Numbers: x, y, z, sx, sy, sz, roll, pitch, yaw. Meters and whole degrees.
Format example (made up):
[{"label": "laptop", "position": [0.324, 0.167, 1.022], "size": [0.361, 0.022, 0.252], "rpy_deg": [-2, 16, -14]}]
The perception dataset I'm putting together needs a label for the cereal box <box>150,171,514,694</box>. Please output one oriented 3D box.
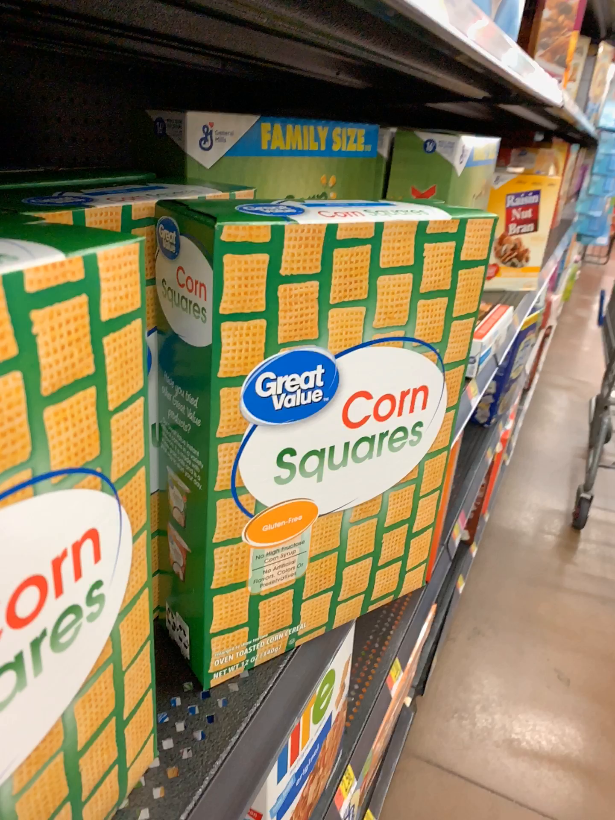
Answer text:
[{"label": "cereal box", "position": [0.009, 0.009, 0.405], "size": [0.200, 0.289, 0.070], "rpy_deg": [-12, 30, -35]}]
